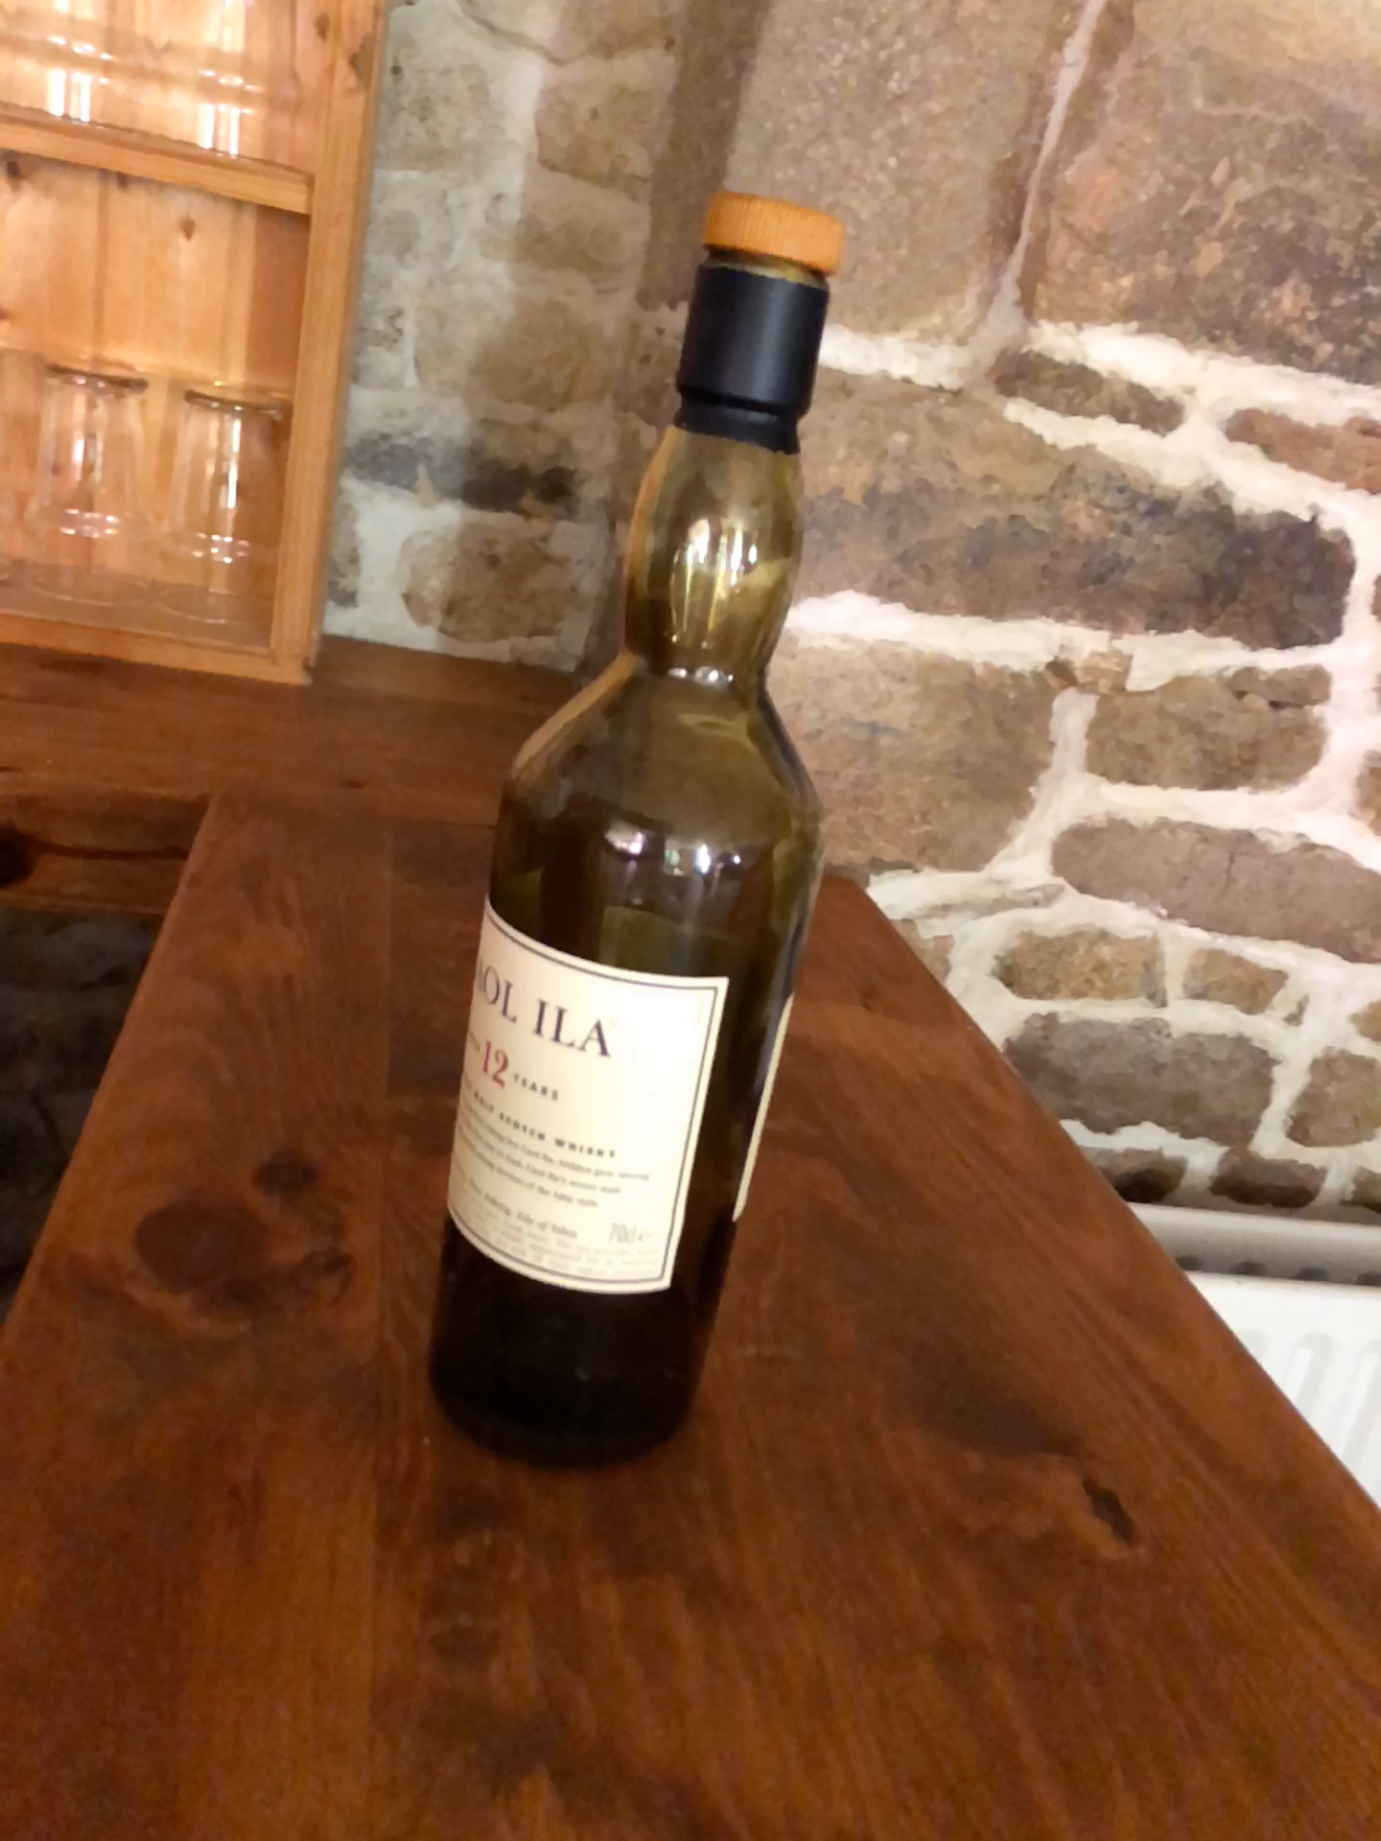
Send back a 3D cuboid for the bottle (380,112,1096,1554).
[{"bbox_3d":[0.000,-0.012,0.350,0.080,0.299,0.070,27,23,38],"label":"bottle"}]
